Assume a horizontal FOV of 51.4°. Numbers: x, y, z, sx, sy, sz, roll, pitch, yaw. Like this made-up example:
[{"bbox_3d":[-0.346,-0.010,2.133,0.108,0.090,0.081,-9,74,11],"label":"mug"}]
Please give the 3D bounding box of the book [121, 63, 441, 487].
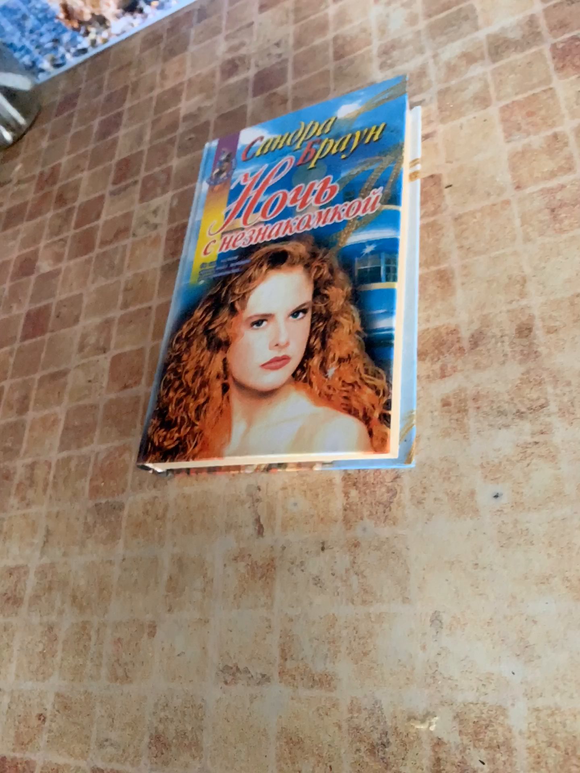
[{"bbox_3d":[0.001,-0.052,0.288,0.130,0.029,0.198,-6,63,29],"label":"book"}]
